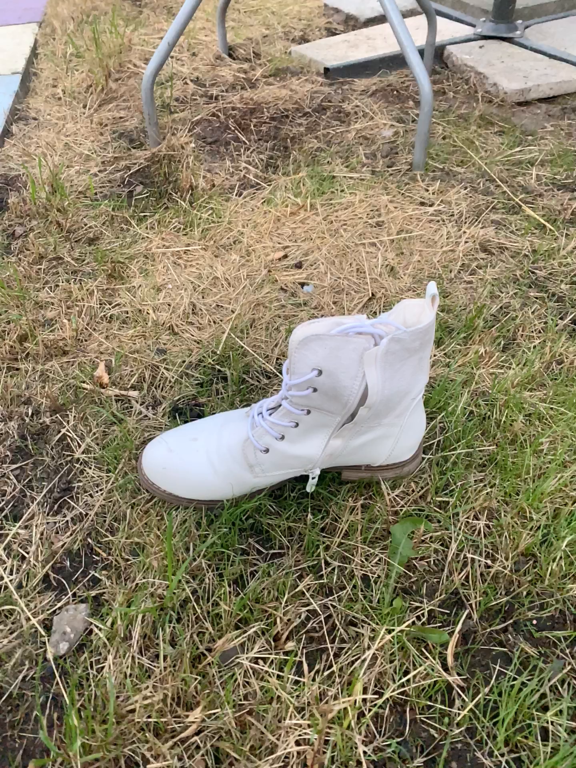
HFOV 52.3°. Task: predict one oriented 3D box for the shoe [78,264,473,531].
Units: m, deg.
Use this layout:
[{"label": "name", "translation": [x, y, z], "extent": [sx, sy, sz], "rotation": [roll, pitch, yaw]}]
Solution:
[{"label": "shoe", "translation": [-0.009, 0.015, 0.483], "extent": [0.260, 0.178, 0.101], "rotation": [-5, 45, -3]}]
